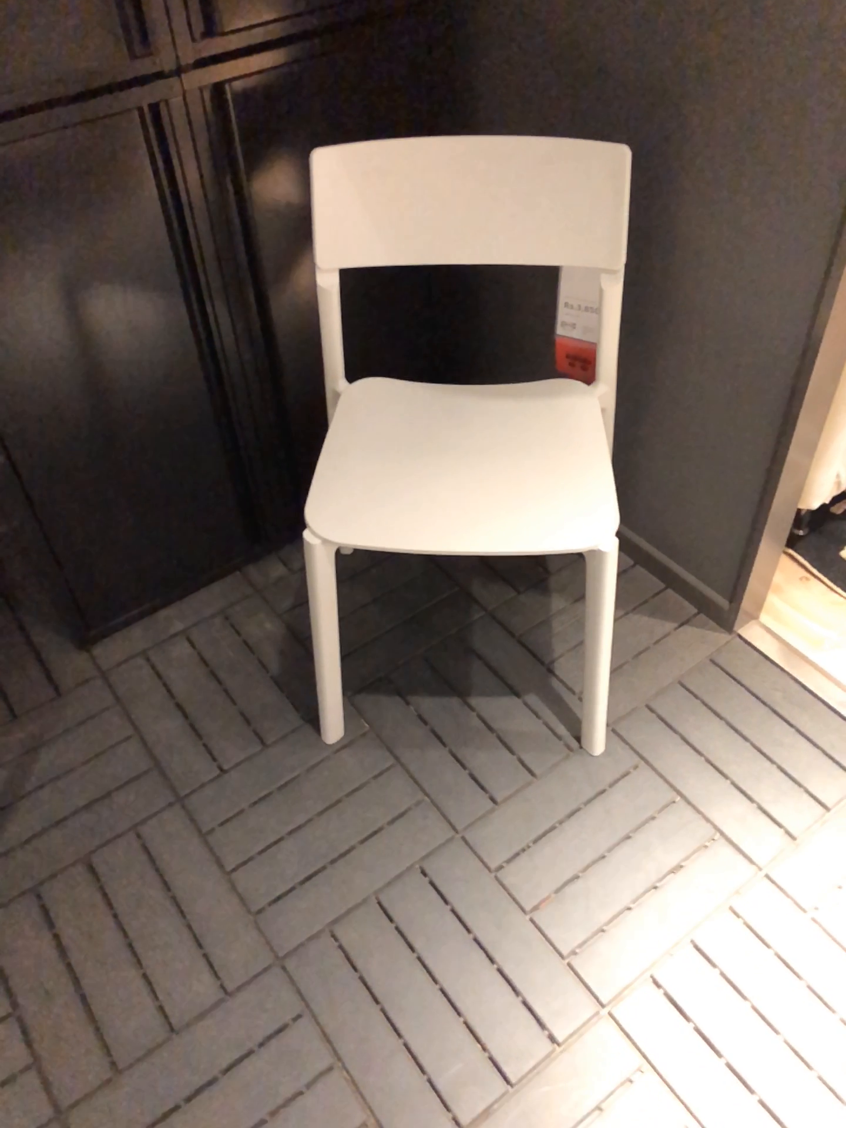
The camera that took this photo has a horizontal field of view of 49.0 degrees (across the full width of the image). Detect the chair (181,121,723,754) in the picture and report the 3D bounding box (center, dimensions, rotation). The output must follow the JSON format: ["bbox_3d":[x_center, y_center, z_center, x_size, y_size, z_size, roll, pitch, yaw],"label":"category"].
[{"bbox_3d":[0.052,-0.149,1.271,0.500,0.705,0.474,2,46,5],"label":"chair"}]
